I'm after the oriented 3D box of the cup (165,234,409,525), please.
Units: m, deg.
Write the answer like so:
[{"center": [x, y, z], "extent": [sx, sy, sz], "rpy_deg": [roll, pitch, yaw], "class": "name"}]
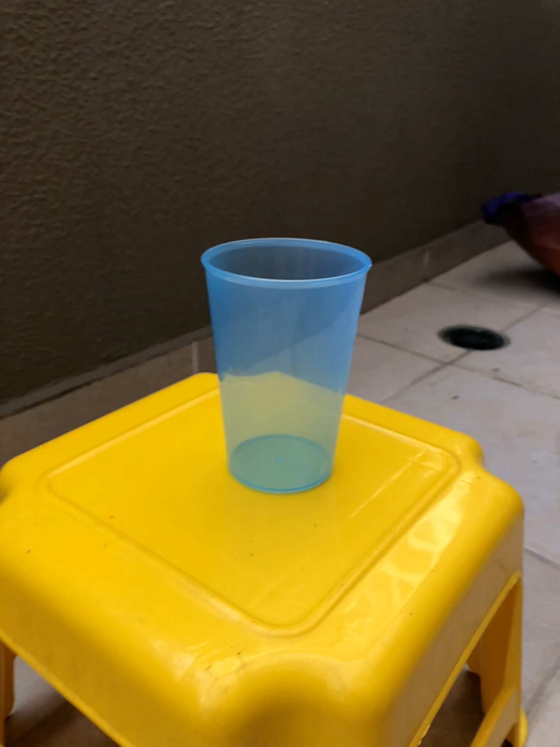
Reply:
[{"center": [0.004, -0.003, 0.289], "extent": [0.080, 0.099, 0.070], "rpy_deg": [15, 28, 28], "class": "cup"}]
